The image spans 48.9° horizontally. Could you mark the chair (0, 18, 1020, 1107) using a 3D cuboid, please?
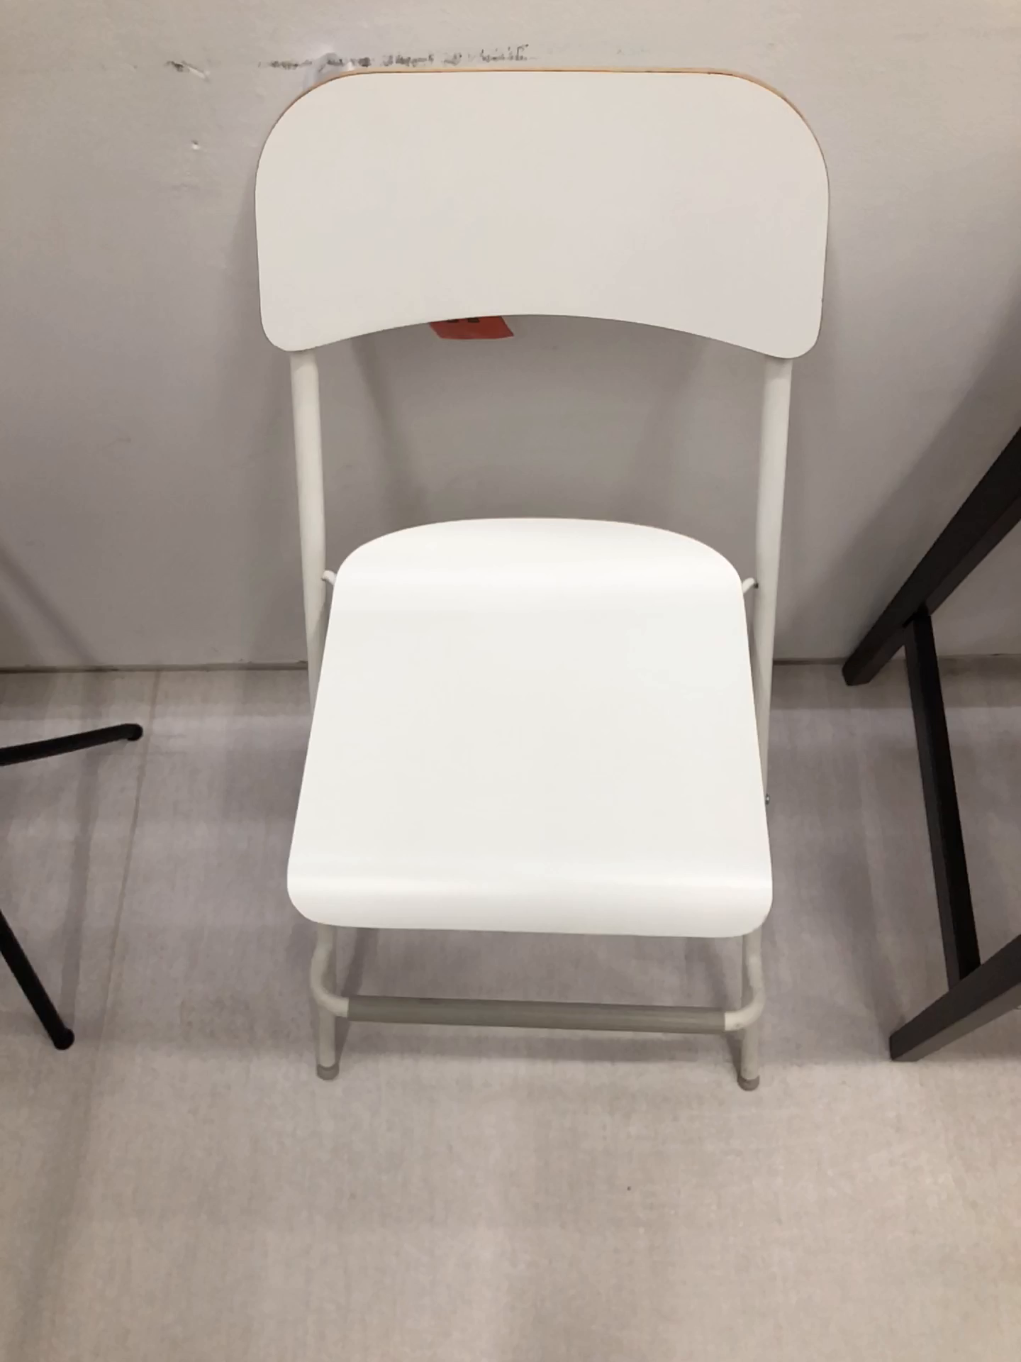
[{"bbox_3d":[0.016,0.046,0.932,0.530,0.896,0.482,0,63,2],"label":"chair"}]
